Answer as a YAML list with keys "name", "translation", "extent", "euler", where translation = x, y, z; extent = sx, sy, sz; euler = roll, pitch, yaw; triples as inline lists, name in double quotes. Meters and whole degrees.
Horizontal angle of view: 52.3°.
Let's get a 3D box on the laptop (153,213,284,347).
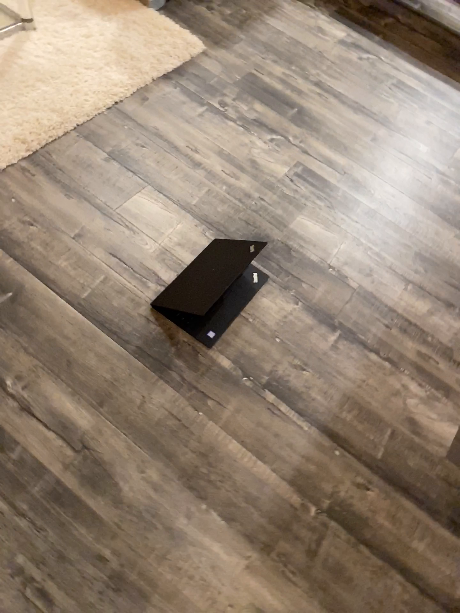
- name: "laptop"
  translation: [-0.032, -0.083, 1.344]
  extent: [0.218, 0.124, 0.316]
  euler: [35, 59, 10]
